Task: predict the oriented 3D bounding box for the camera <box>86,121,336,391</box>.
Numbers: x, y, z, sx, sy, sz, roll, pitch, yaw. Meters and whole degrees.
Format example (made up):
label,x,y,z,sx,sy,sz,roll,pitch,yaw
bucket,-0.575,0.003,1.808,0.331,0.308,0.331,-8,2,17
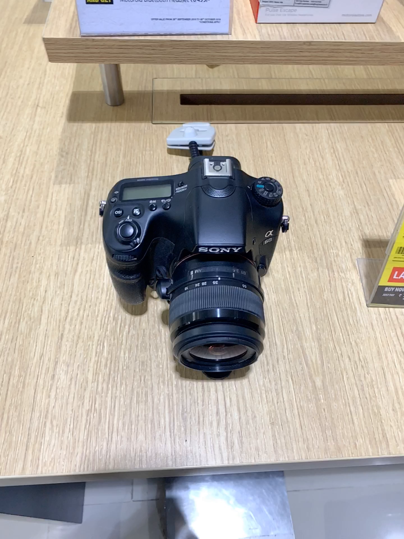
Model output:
label,x,y,z,sx,sy,sz,roll,pitch,yaw
camera,0.000,-0.017,0.294,0.130,0.070,0.181,-1,56,-3
